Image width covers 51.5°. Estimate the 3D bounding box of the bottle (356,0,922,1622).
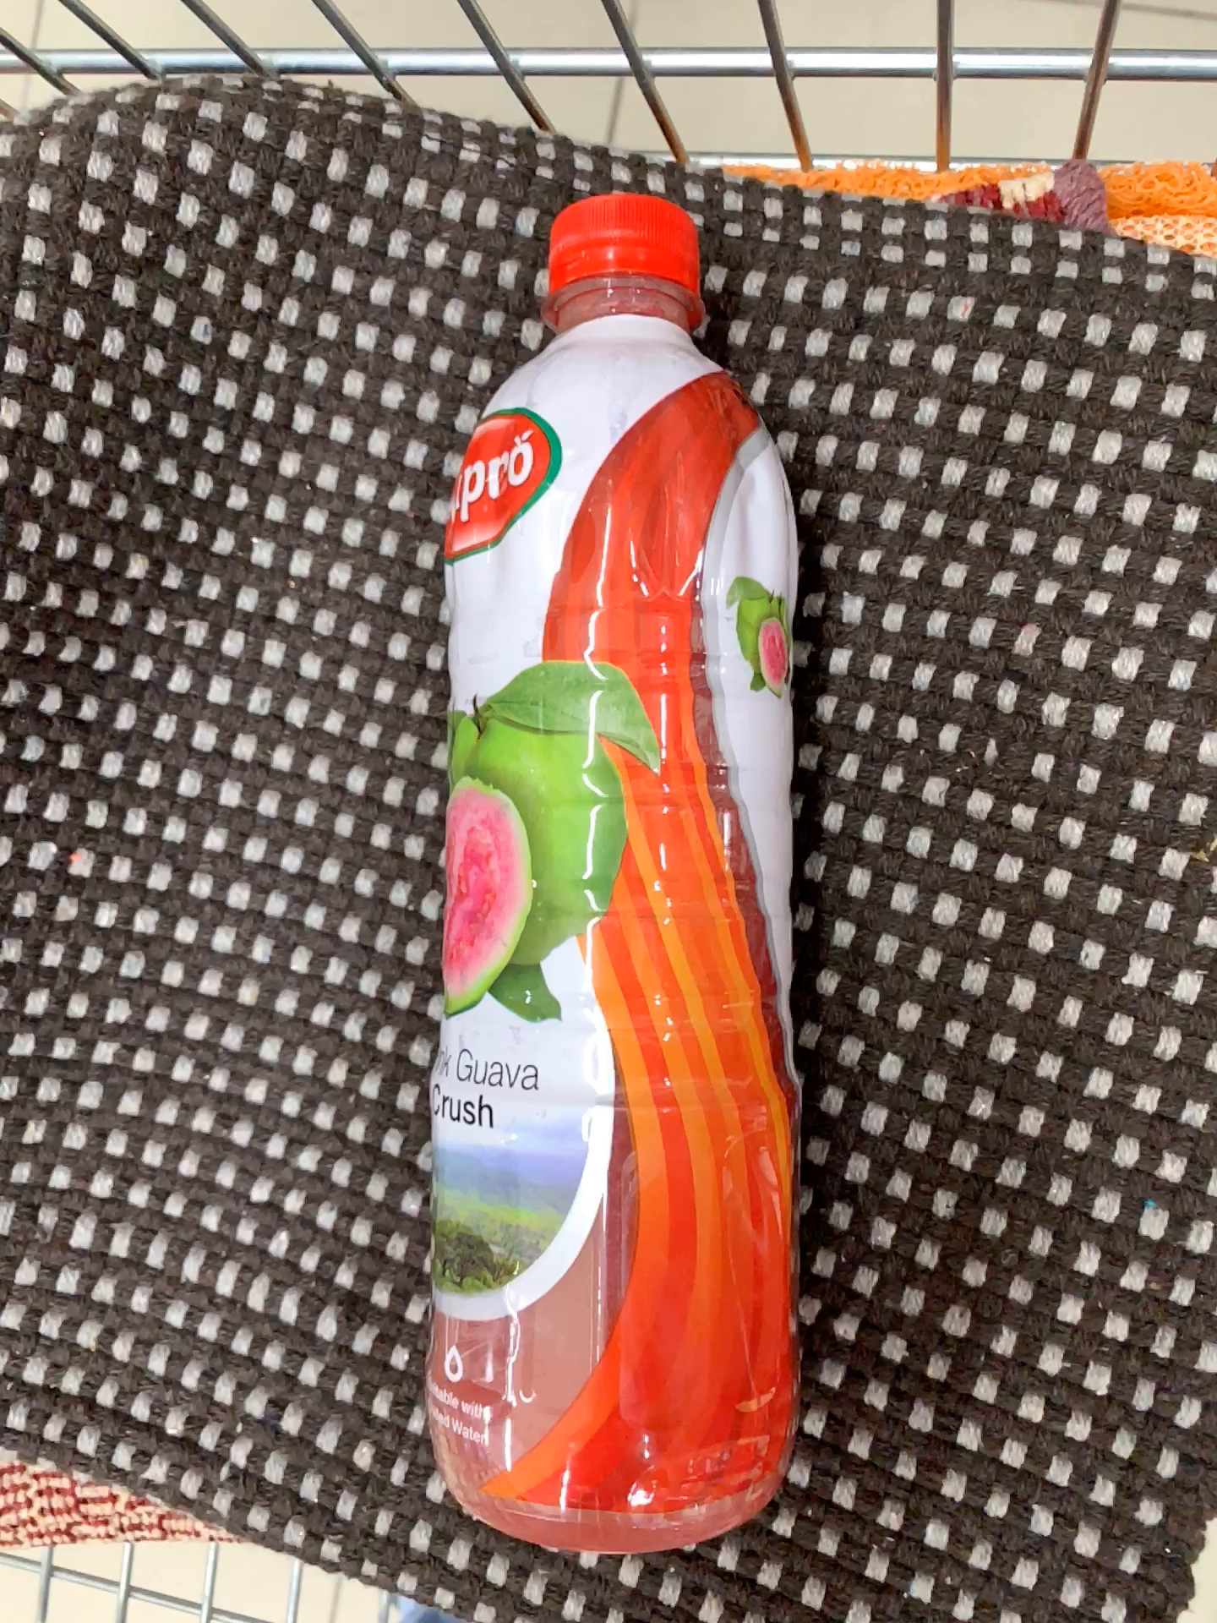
[{"bbox_3d":[0.005,-0.002,0.229,0.070,0.070,0.240,5,83,-33],"label":"bottle"}]
